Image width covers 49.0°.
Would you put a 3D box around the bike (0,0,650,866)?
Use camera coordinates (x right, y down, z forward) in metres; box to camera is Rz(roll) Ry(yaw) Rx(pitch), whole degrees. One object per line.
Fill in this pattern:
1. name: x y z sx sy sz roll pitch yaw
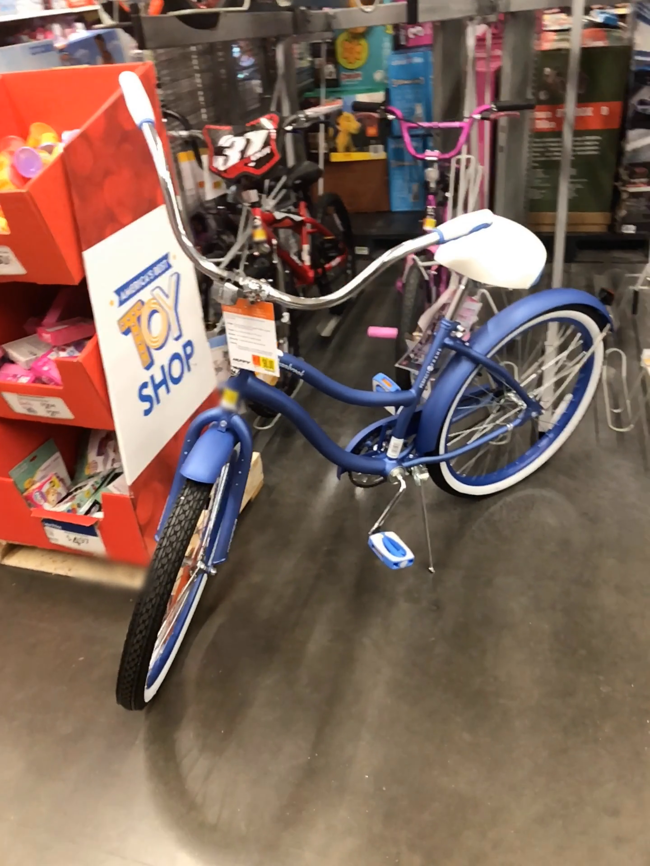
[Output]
1. bike: 0.171 -0.097 1.413 1.356 1.113 0.860 -28 37 -28
